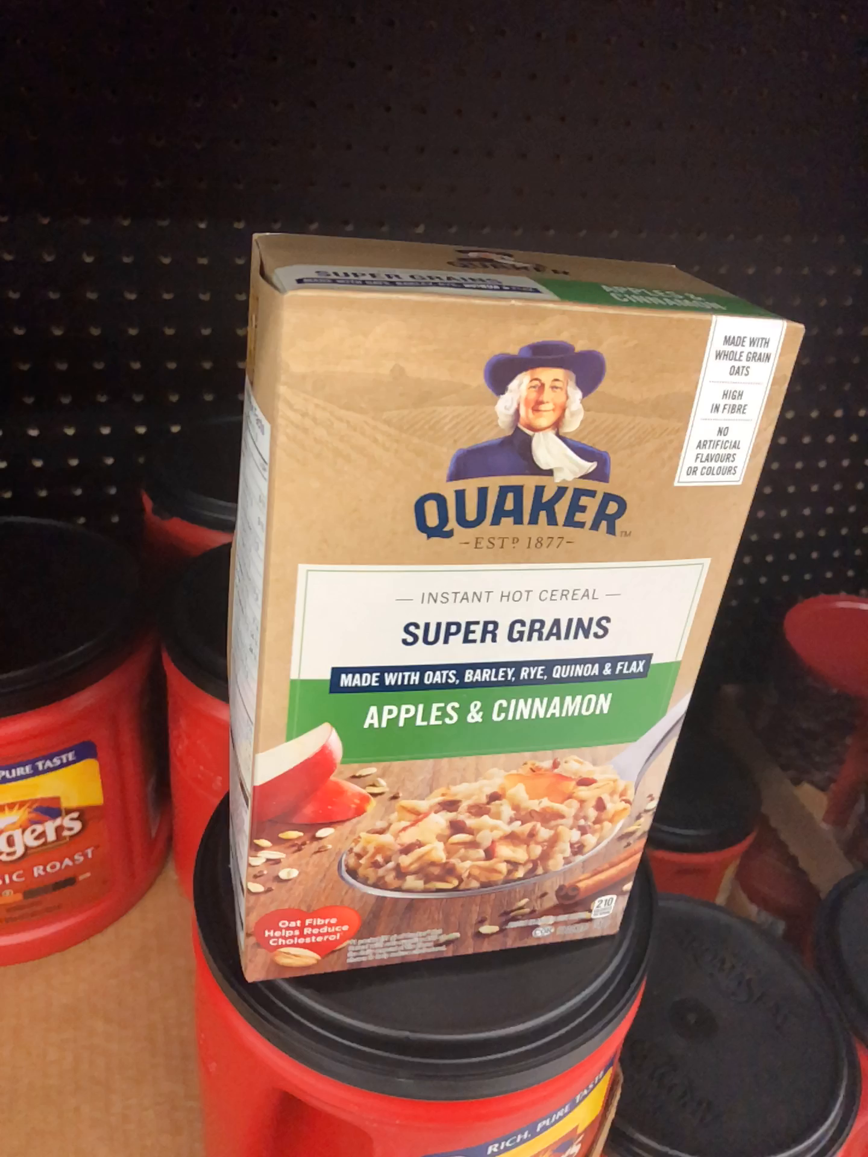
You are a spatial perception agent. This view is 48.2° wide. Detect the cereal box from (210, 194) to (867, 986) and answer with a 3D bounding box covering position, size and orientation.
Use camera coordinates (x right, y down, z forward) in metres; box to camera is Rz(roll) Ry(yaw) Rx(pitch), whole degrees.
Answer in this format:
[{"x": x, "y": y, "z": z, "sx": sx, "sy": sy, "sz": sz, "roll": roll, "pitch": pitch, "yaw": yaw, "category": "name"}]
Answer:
[{"x": 0.012, "y": 0.011, "z": 0.265, "sx": 0.140, "sy": 0.199, "sz": 0.060, "roll": -1, "pitch": 30, "yaw": -14, "category": "cereal box"}]
